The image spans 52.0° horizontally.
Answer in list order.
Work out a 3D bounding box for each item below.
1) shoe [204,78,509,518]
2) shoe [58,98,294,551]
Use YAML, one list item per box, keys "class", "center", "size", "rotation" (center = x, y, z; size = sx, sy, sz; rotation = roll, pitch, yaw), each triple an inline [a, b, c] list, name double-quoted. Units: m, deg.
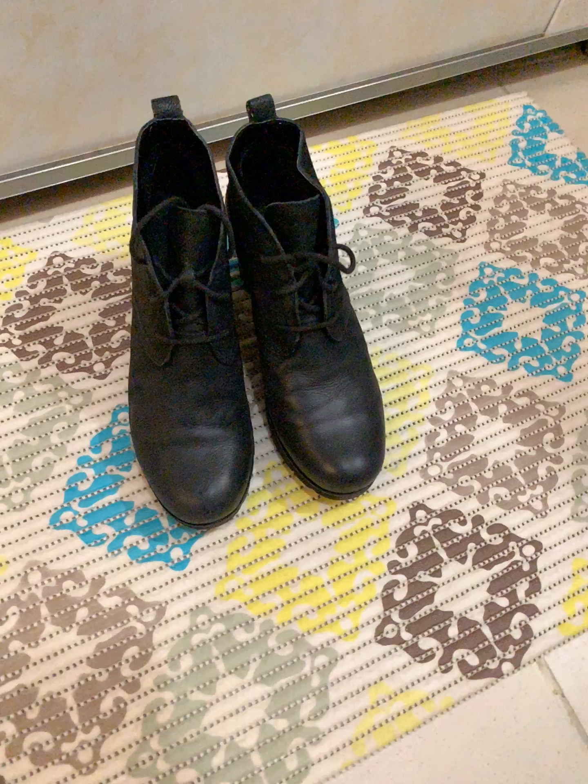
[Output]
- class: "shoe"
  center: [0.018, -0.059, 0.397]
  size: [0.090, 0.150, 0.230]
  rotation: [-15, 66, -13]
- class: "shoe"
  center: [-0.076, -0.039, 0.380]
  size: [0.090, 0.150, 0.230]
  rotation: [-9, 64, -11]
